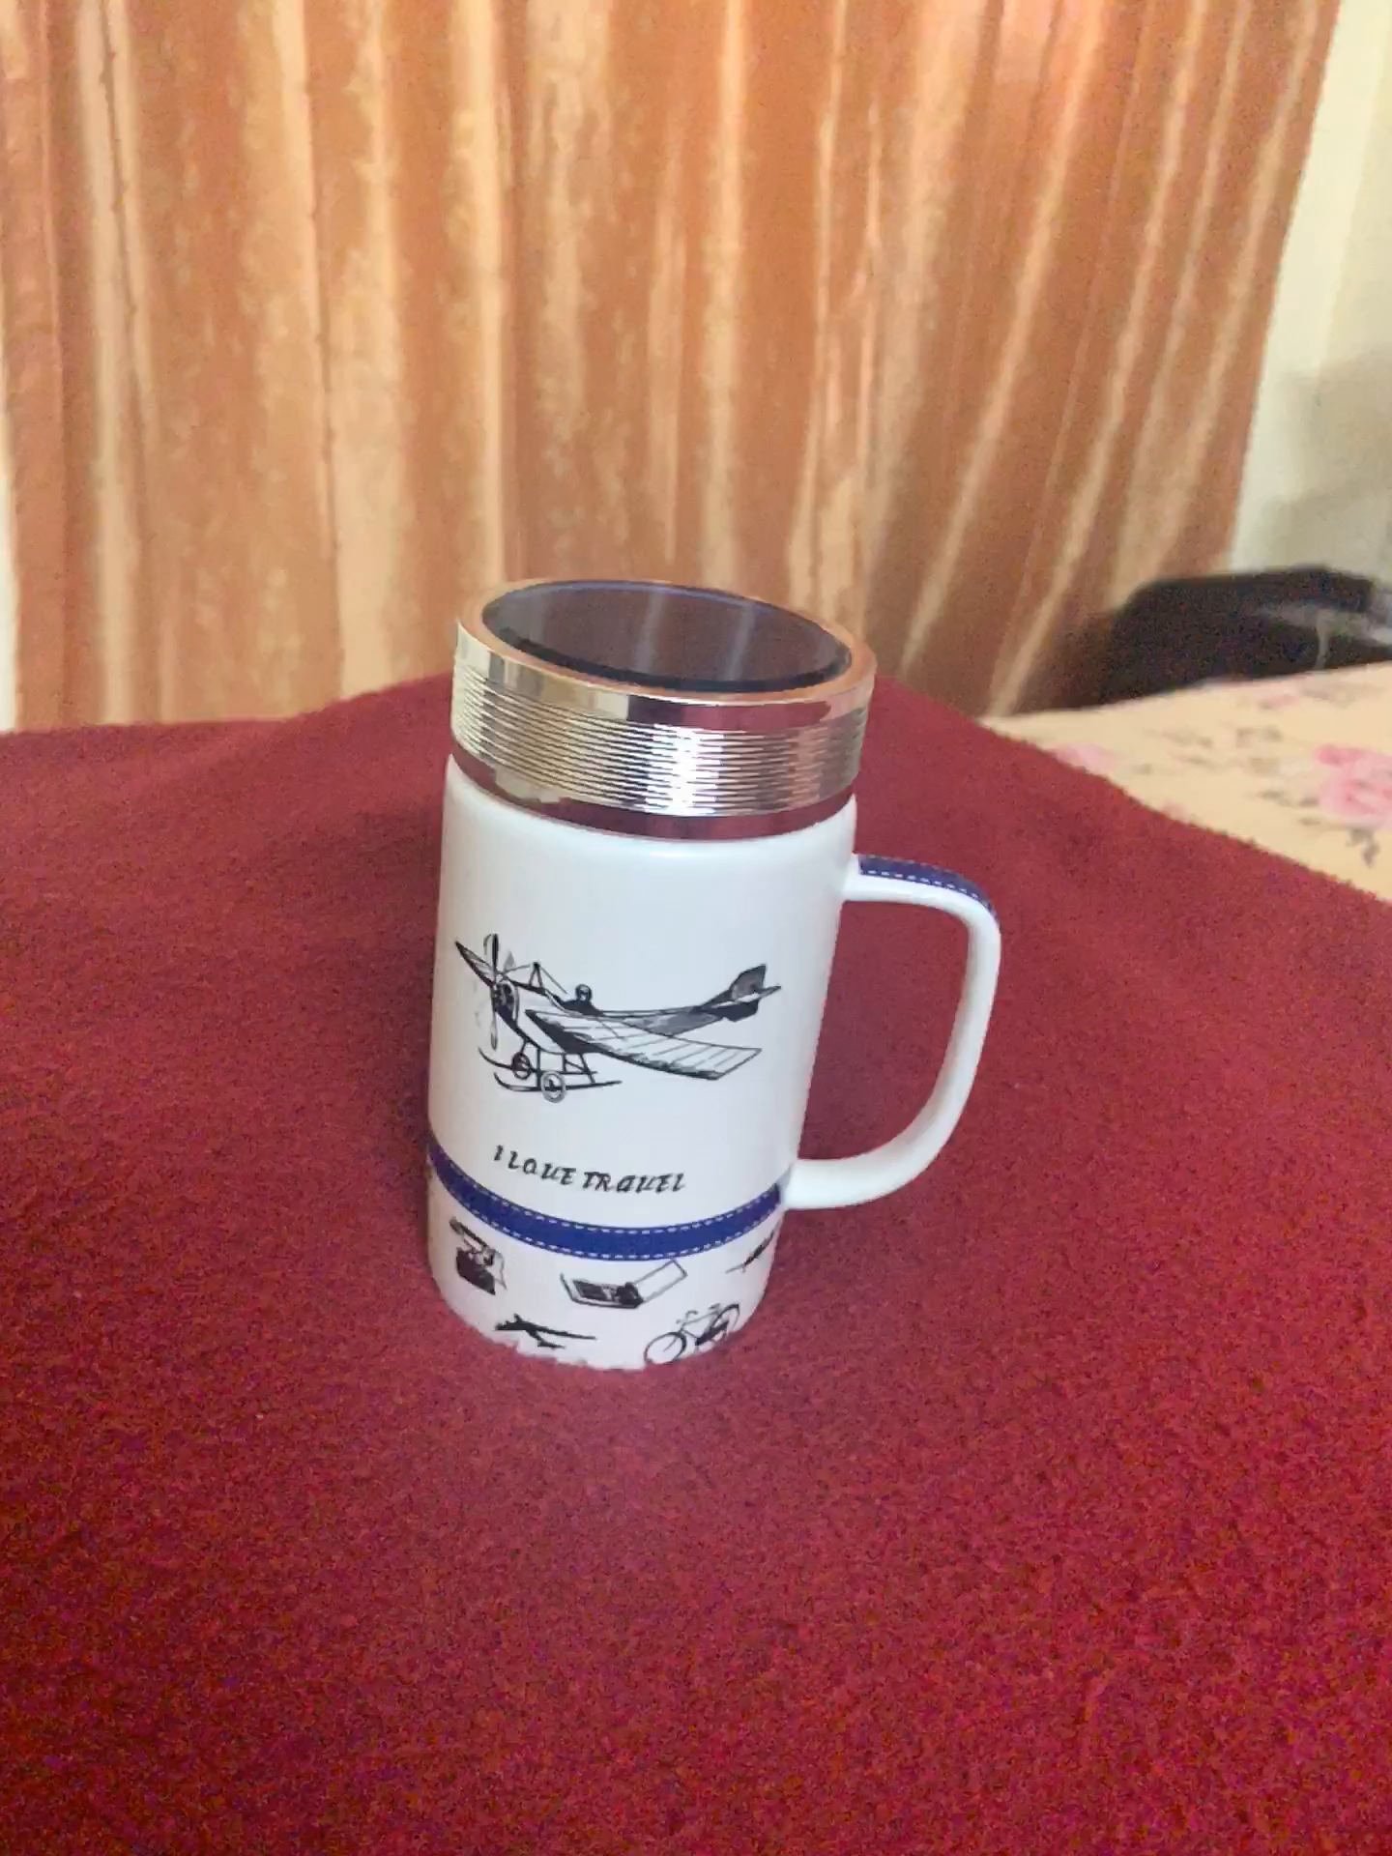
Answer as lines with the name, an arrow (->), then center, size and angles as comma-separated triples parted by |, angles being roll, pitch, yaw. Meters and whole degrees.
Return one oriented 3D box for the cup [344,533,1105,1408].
cup -> 0.000, 0.005, 0.298 | 0.120, 0.139, 0.091 | 7, 26, 1
